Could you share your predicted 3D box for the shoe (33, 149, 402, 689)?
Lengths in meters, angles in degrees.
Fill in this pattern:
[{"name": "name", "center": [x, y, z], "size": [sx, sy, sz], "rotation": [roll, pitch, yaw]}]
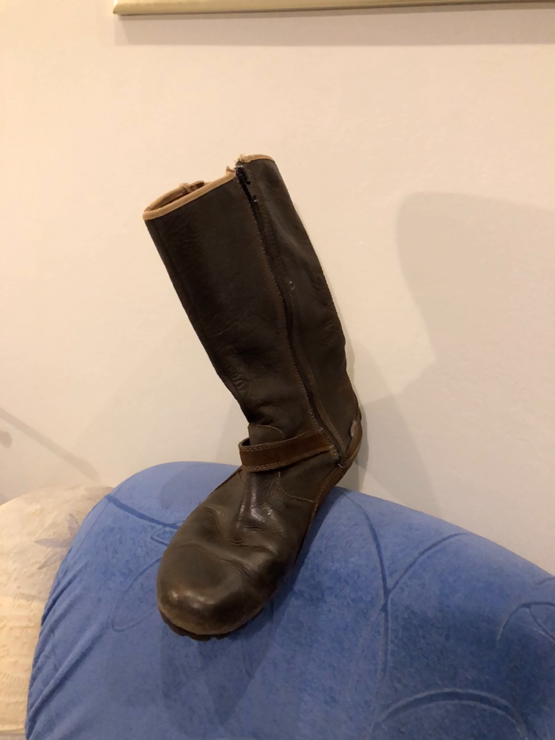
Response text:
[{"name": "shoe", "center": [-0.002, 0.017, 0.454], "size": [0.110, 0.278, 0.272], "rotation": [11, 37, 23]}]
